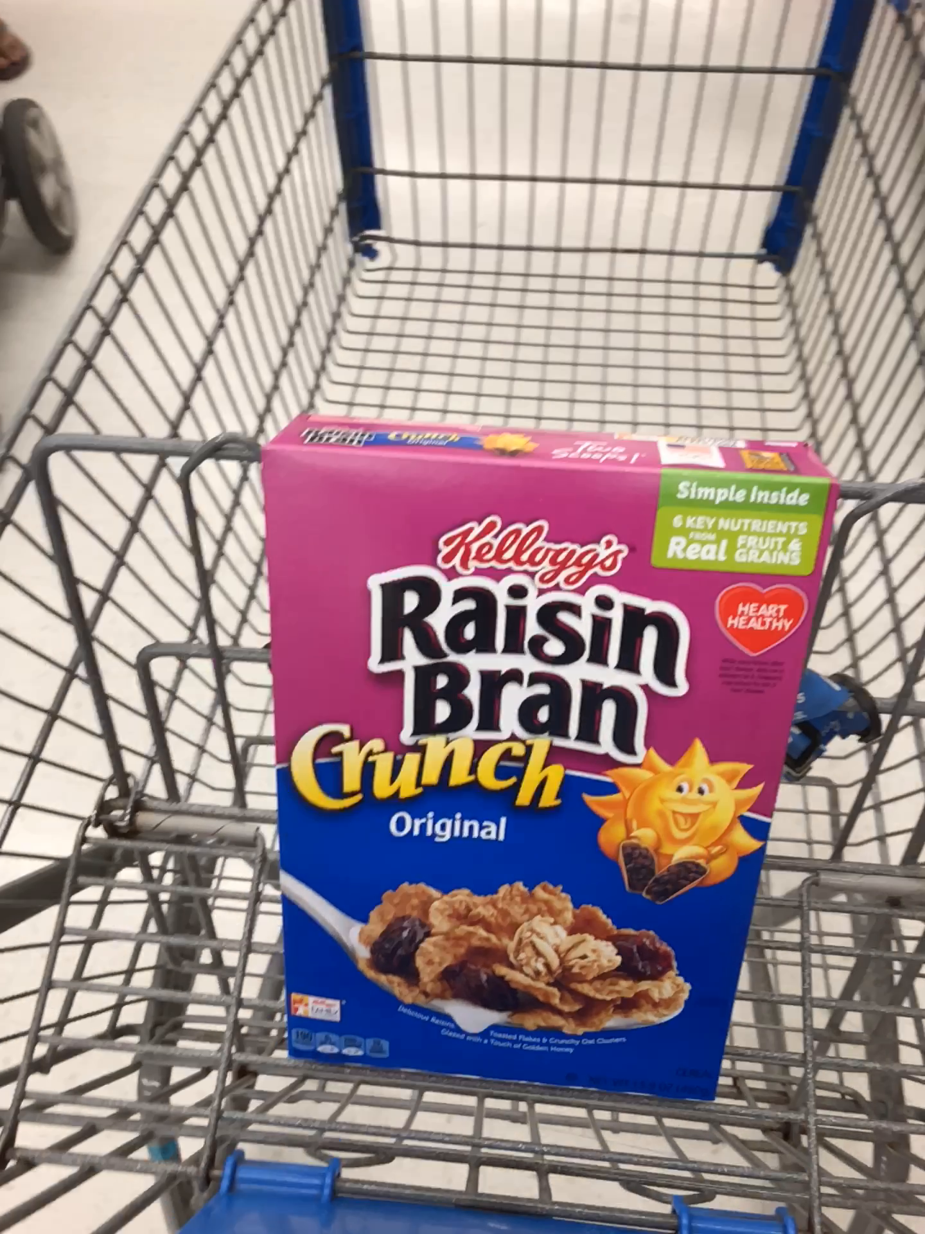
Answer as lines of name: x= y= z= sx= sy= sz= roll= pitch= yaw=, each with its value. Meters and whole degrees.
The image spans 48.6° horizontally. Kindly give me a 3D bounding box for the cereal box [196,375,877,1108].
cereal box: x=0.018 y=0.057 z=0.401 sx=0.210 sy=0.280 sz=0.060 roll=4 pitch=25 yaw=4
